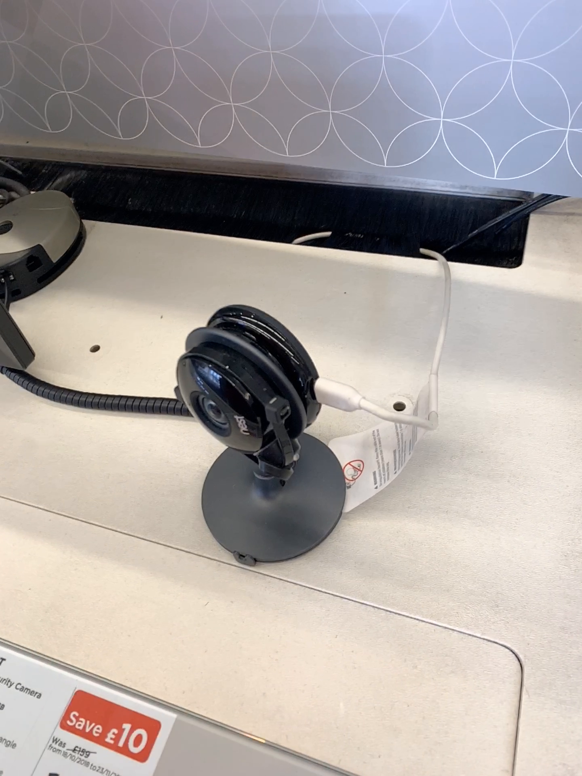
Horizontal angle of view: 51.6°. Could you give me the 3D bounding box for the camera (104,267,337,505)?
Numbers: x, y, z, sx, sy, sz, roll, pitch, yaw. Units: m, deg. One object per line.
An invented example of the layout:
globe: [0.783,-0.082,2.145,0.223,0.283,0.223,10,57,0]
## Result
camera: [-0.023,-0.002,0.225,0.060,0.050,0.050,27,59,28]
